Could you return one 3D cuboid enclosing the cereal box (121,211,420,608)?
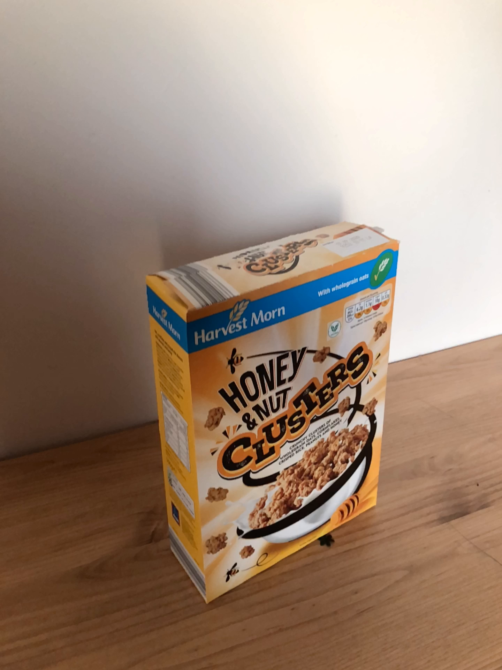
[{"bbox_3d":[0.020,0.053,0.425,0.190,0.248,0.070,-19,34,-29],"label":"cereal box"}]
